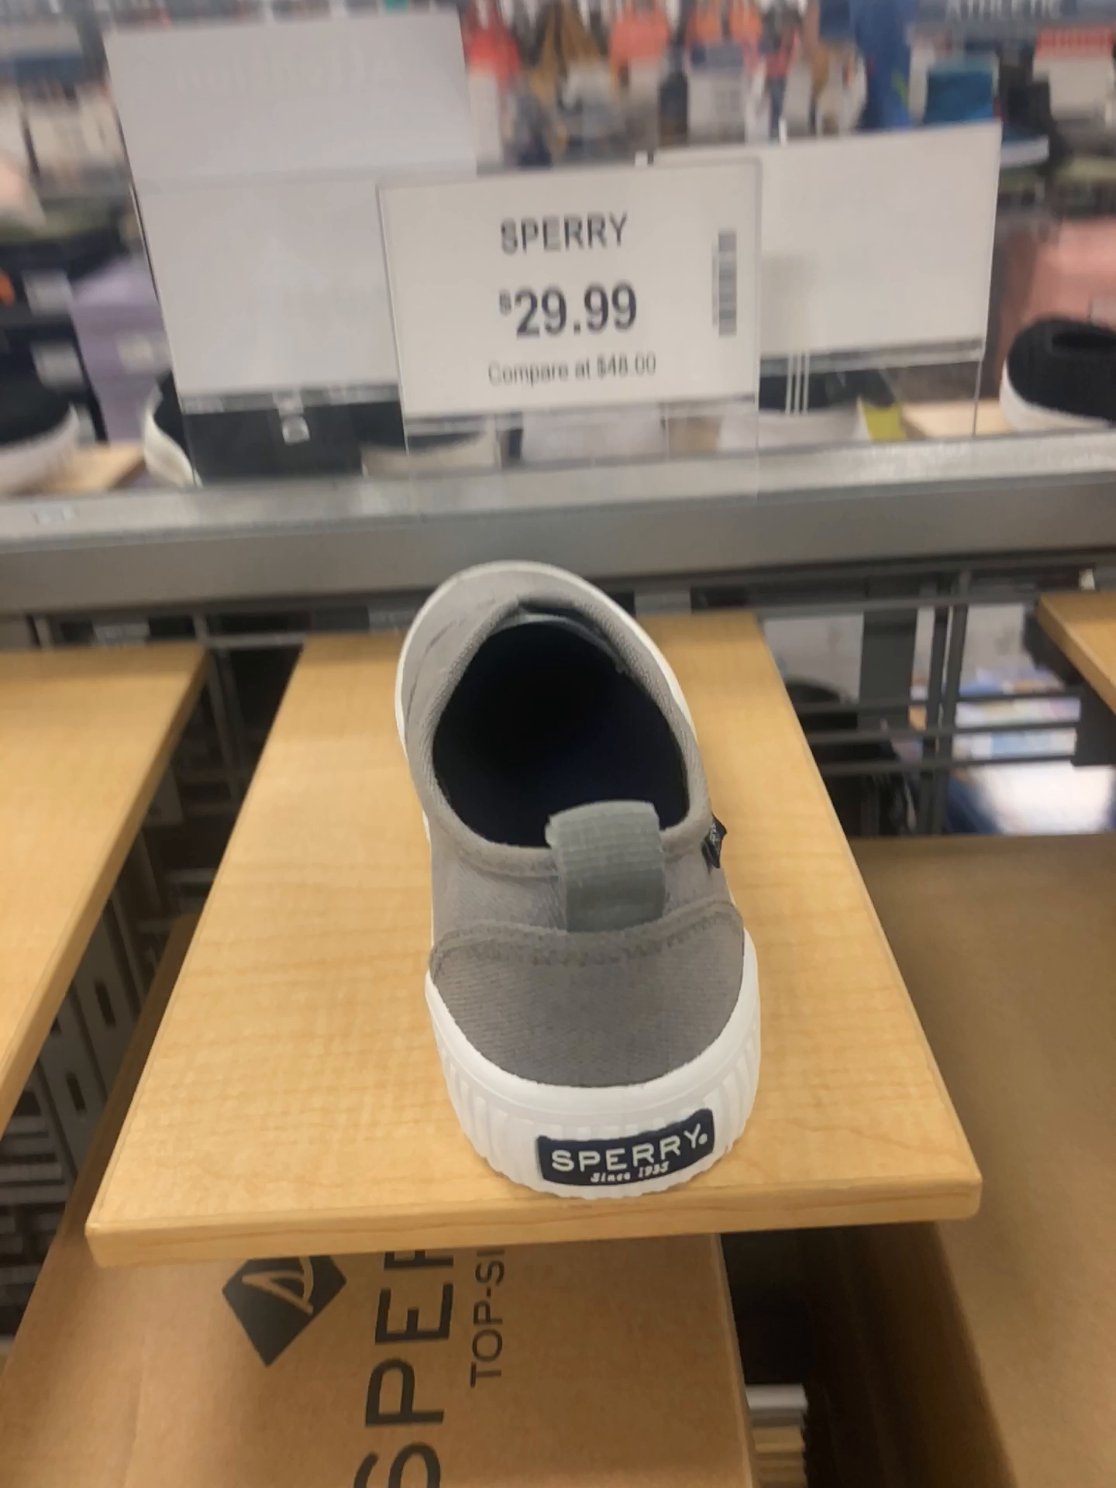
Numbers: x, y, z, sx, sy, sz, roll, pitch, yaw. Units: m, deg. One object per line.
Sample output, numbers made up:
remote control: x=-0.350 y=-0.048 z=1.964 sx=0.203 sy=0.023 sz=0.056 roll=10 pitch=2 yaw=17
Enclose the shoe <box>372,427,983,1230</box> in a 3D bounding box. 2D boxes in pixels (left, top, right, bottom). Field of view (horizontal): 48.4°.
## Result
shoe: x=0.005 y=-0.009 z=0.328 sx=0.097 sy=0.081 sz=0.253 roll=-5 pitch=29 yaw=-7
